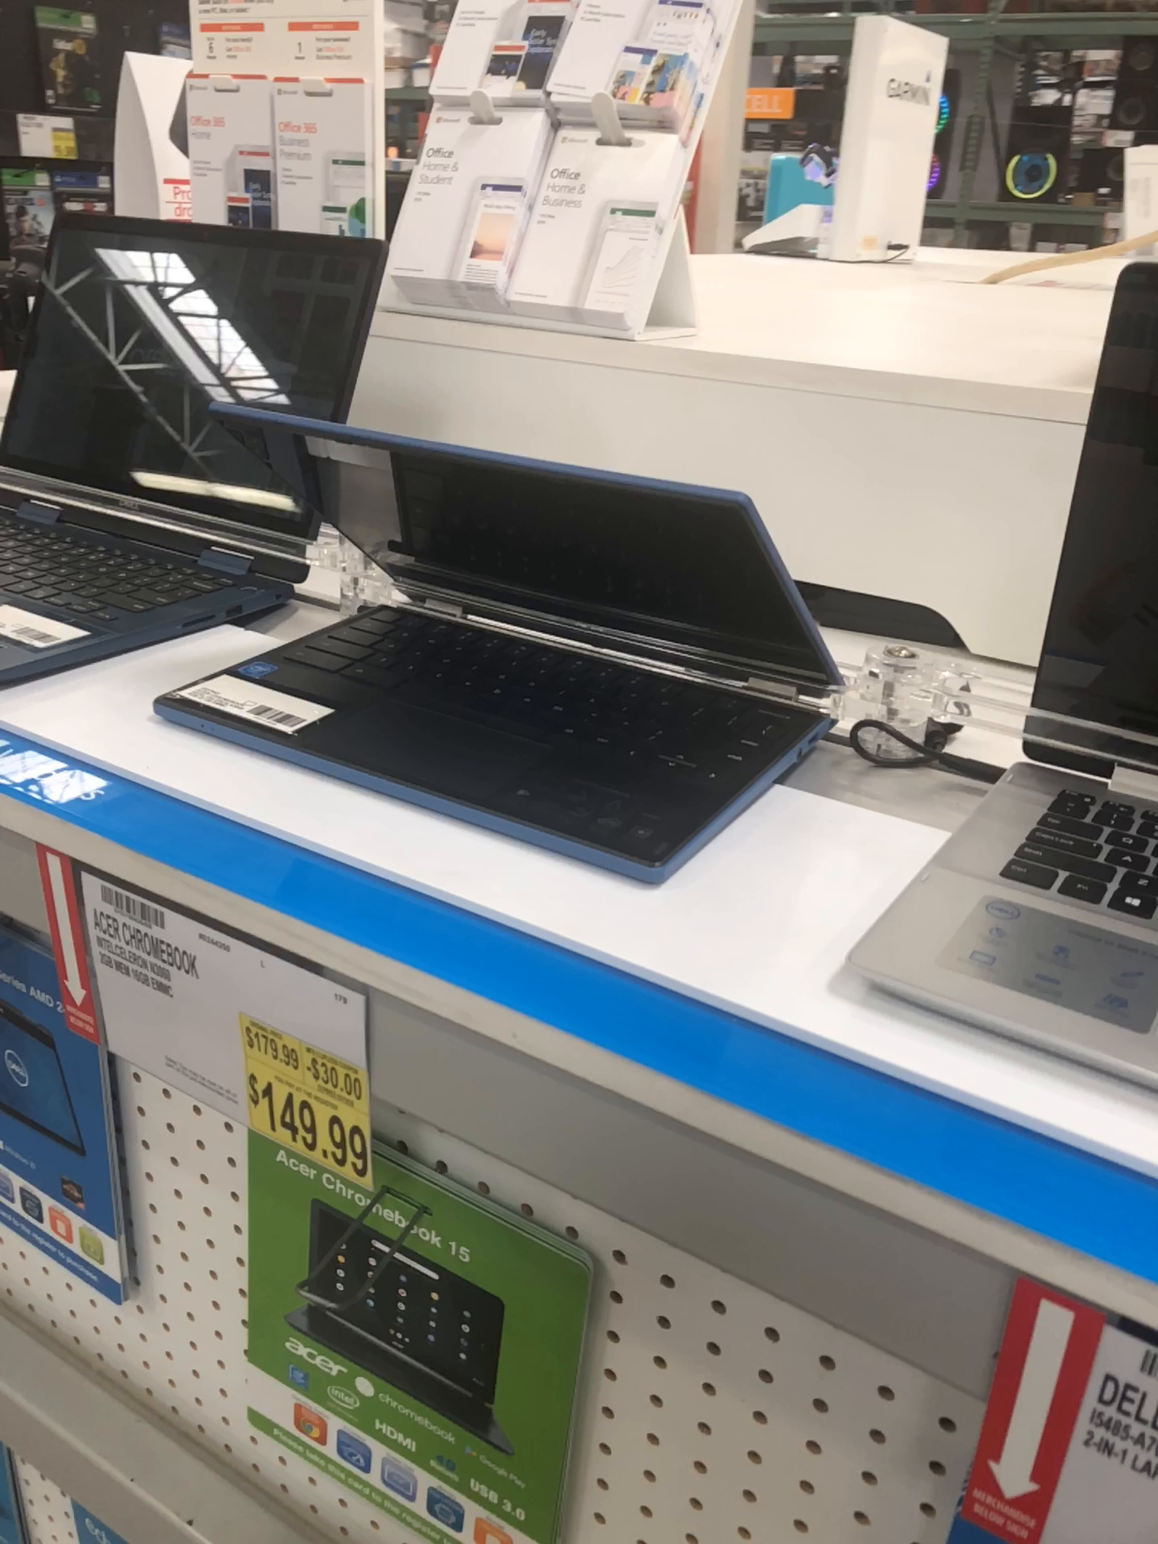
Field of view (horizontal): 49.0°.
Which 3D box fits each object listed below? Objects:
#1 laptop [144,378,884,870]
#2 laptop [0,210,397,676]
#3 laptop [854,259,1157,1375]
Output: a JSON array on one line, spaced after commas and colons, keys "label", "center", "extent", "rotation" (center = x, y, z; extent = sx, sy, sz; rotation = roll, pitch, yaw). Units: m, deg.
[{"label": "laptop", "center": [-0.030, -0.092, 0.605], "extent": [0.280, 0.128, 0.187], "rotation": [17, 30, 27]}, {"label": "laptop", "center": [-0.342, -0.236, 0.800], "extent": [0.325, 0.196, 0.320], "rotation": [17, 28, 28]}, {"label": "laptop", "center": [0.287, -0.035, 0.411], "extent": [0.296, 0.211, 0.222], "rotation": [18, 30, 30]}]
